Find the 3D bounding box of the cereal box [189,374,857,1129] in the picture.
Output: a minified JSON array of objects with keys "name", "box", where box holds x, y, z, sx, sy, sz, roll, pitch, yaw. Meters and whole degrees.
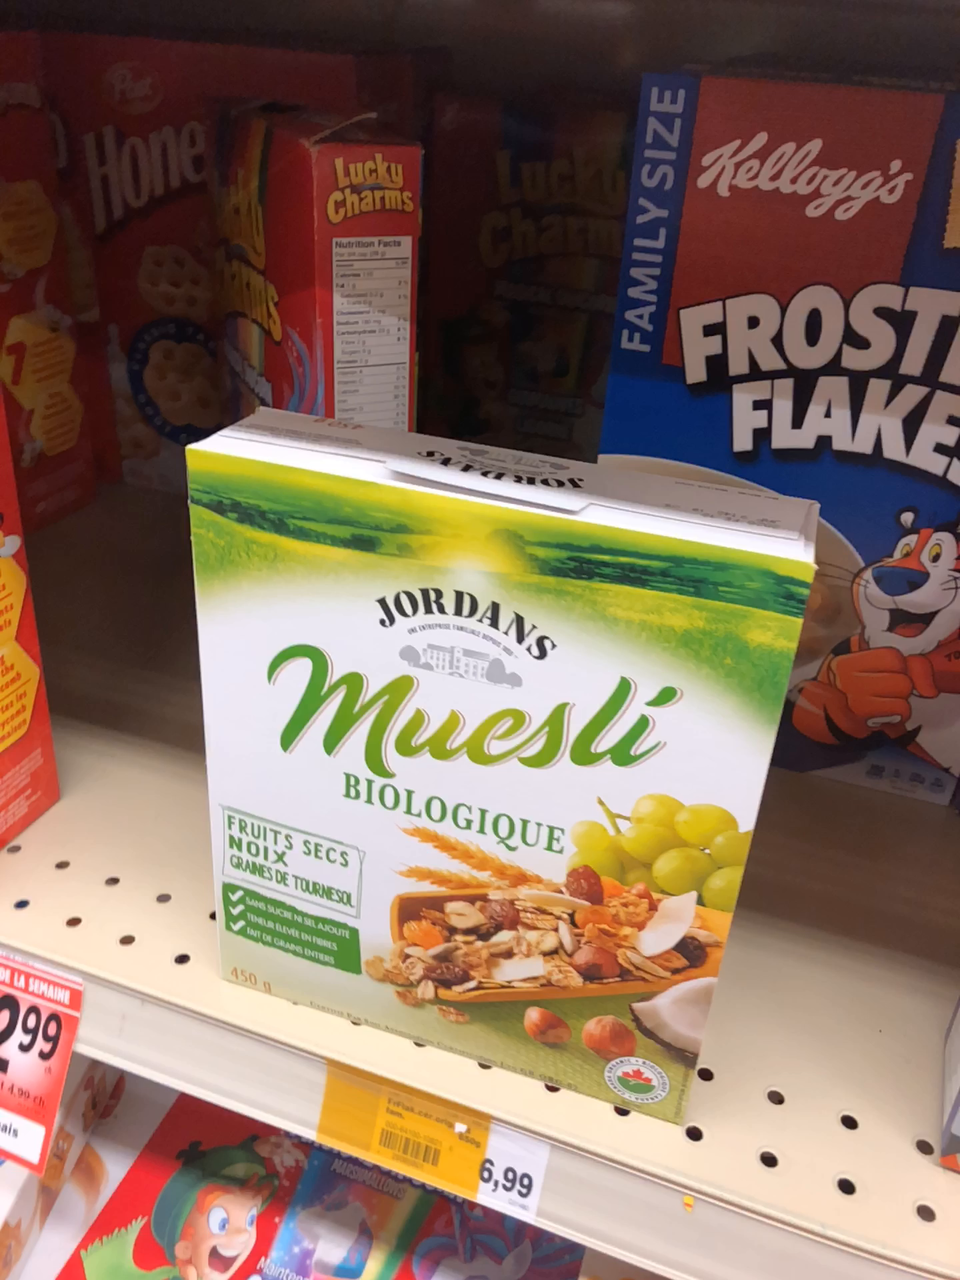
[{"name":"cereal box","box":[0.004,0.040,0.350,0.180,0.218,0.050,13,30,14]}]
